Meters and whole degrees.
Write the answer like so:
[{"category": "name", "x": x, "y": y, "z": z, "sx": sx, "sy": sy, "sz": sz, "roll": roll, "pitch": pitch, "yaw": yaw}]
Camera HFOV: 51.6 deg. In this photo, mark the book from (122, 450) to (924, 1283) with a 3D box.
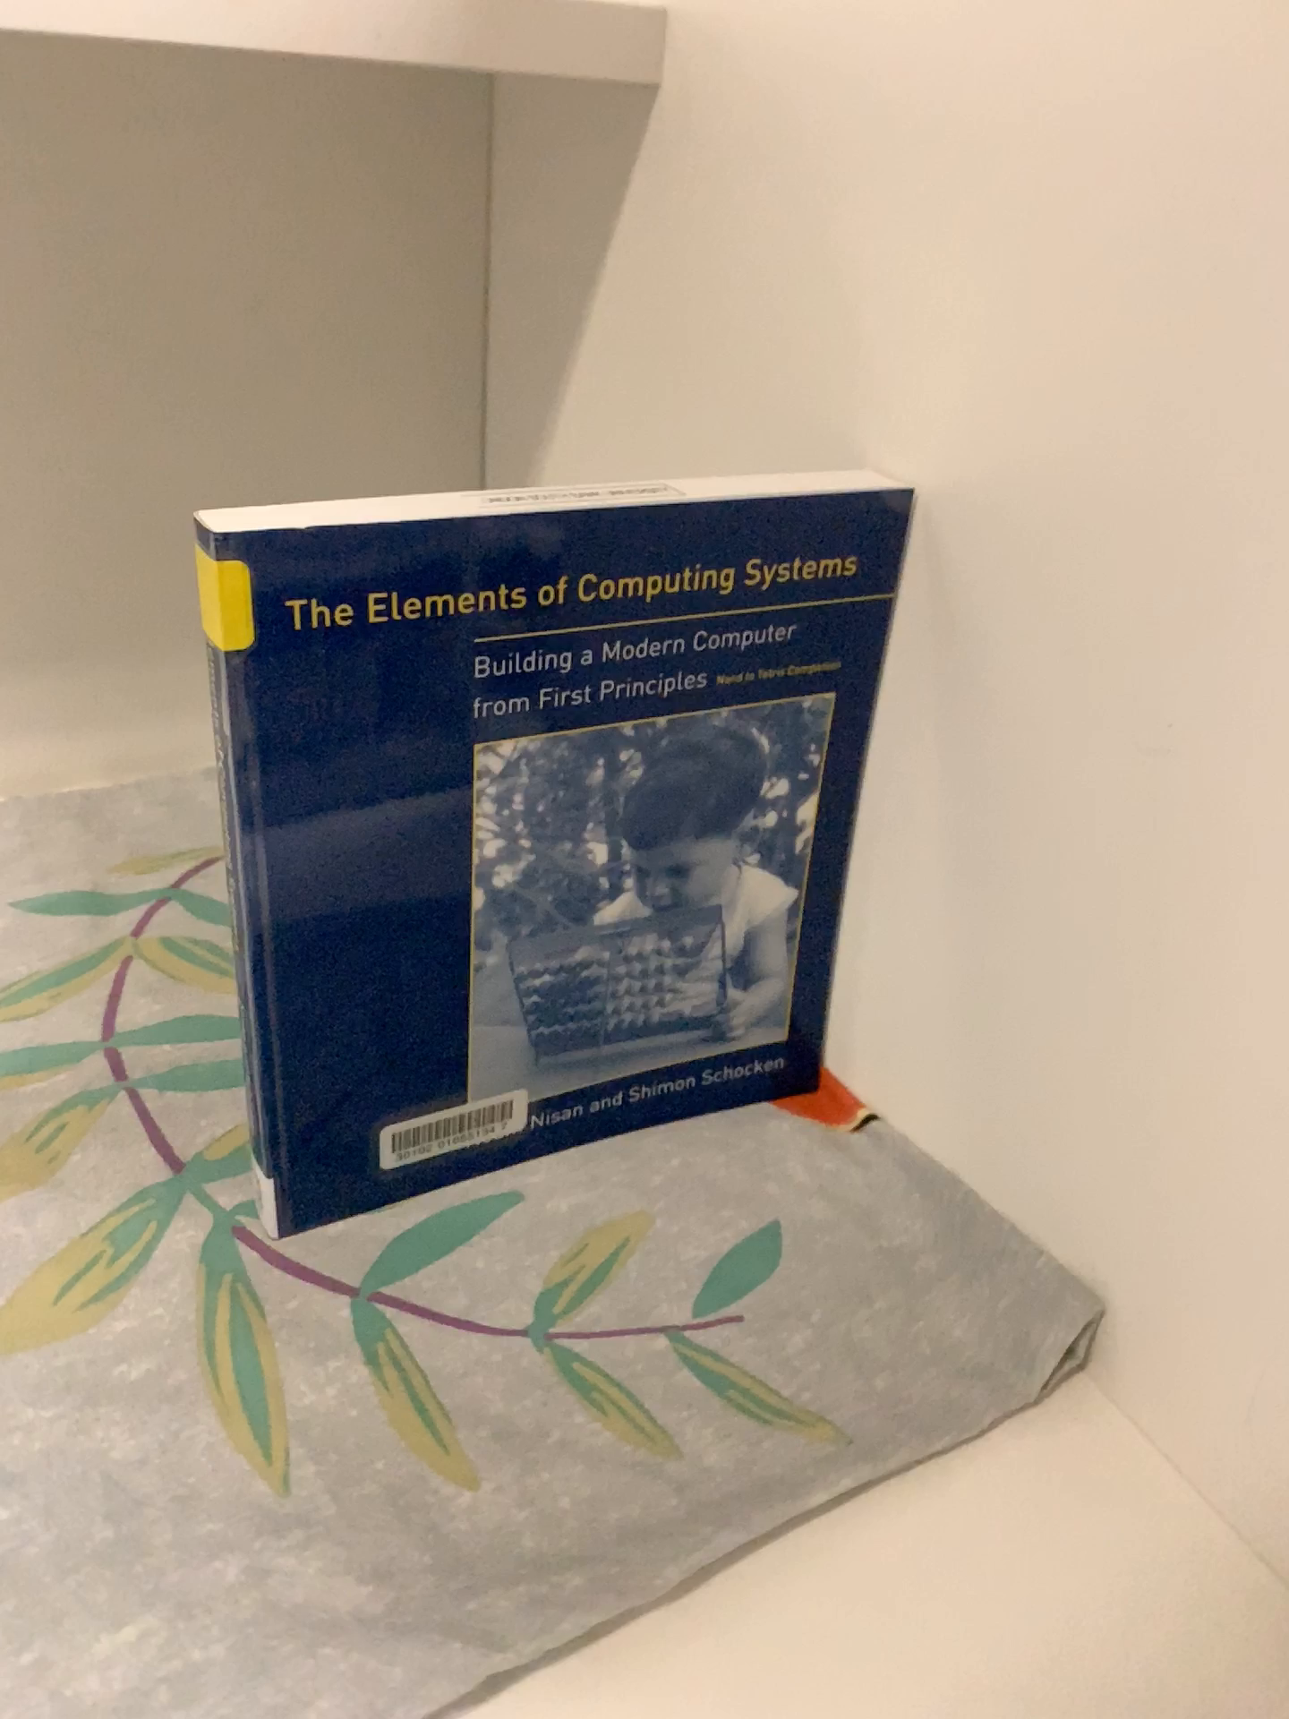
[{"category": "book", "x": -0.031, "y": 0.002, "z": 0.415, "sx": 0.220, "sy": 0.238, "sz": 0.030, "roll": -11, "pitch": 33, "yaw": -26}]
